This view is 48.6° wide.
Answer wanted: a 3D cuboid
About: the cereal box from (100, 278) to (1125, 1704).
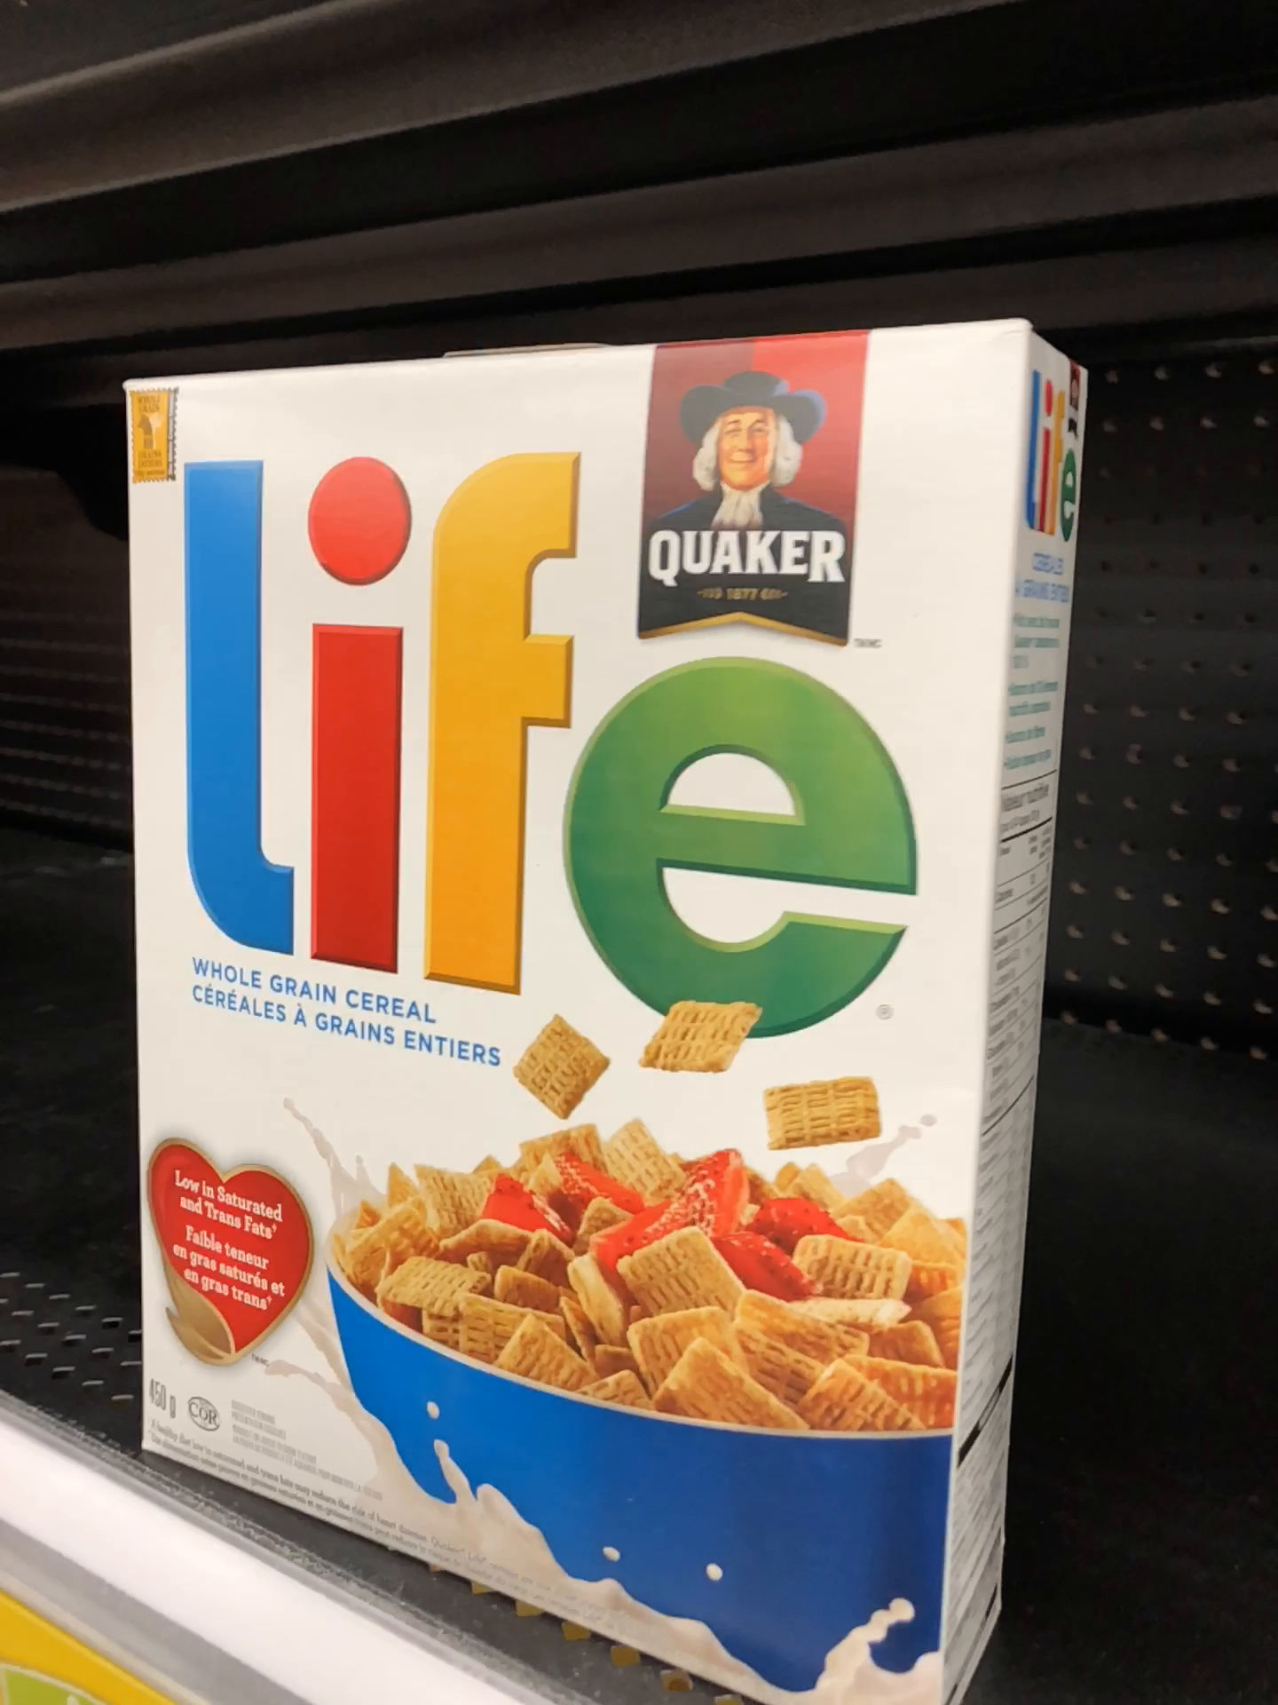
[{"bbox_3d":[-0.016,0.028,0.302,0.200,0.259,0.060,6,10,27],"label":"cereal box"}]
